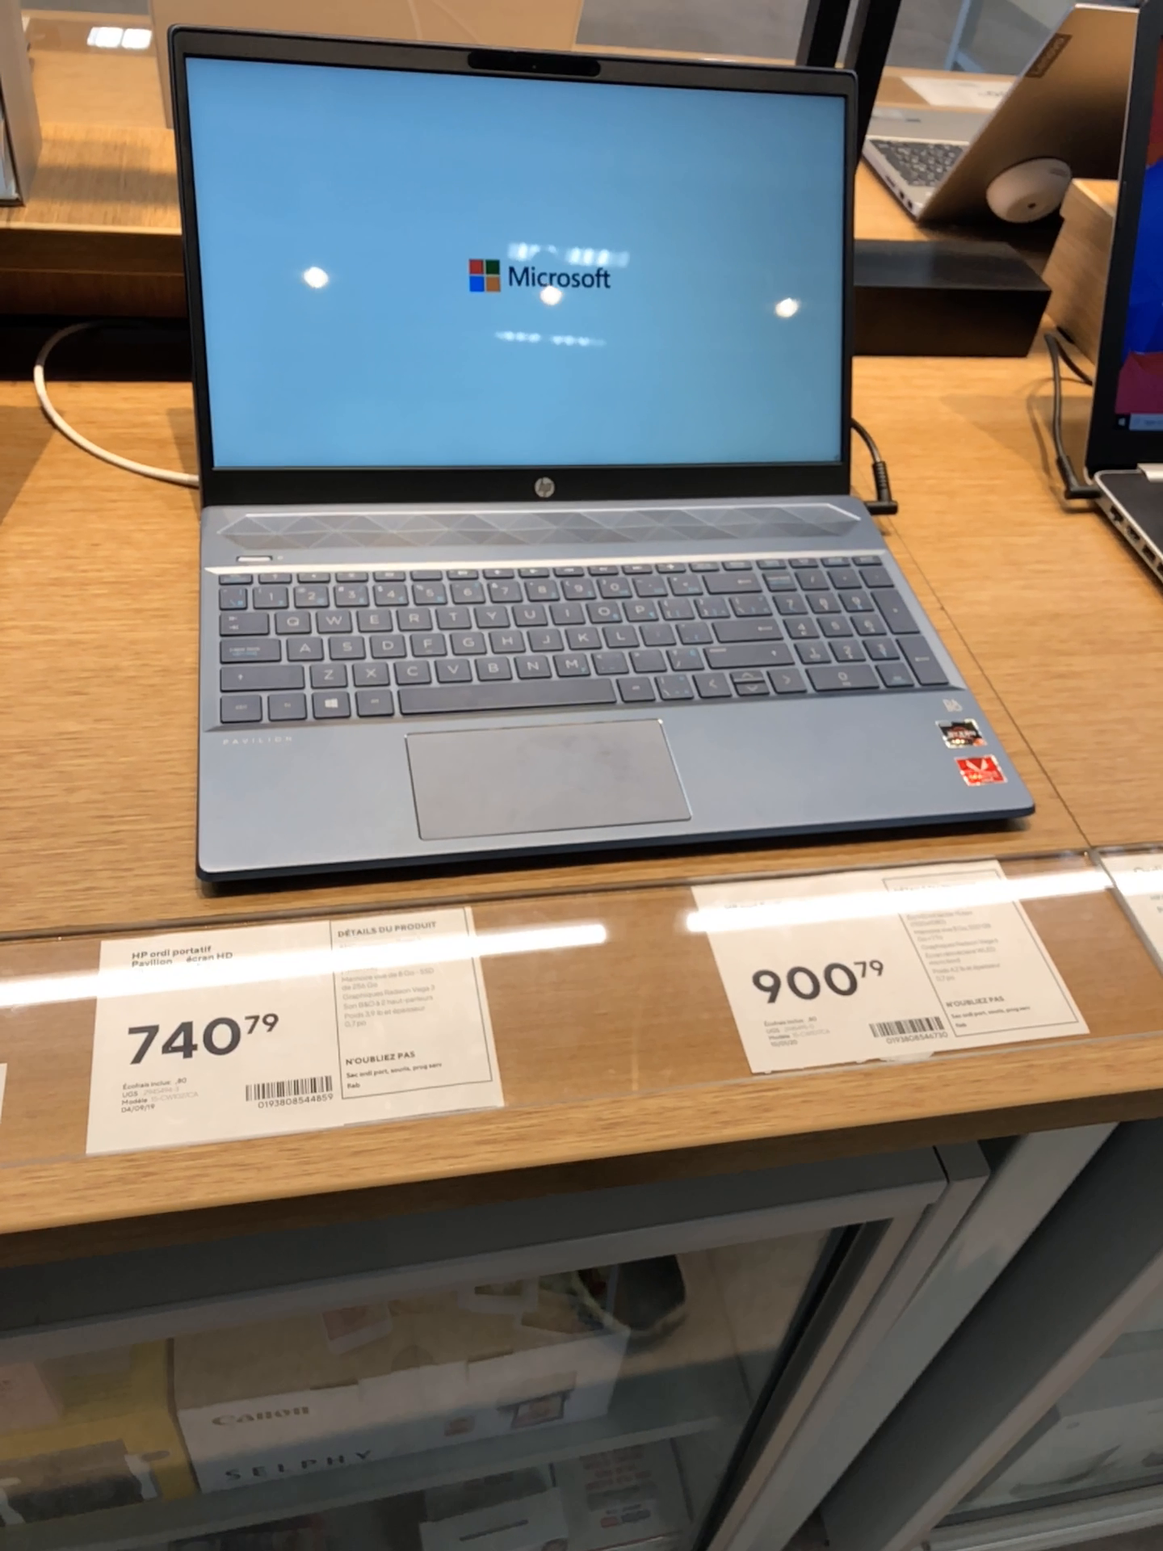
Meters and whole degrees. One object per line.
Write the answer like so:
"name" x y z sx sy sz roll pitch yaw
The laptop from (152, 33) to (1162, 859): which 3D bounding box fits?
"laptop" -0.004 -0.168 0.586 0.338 0.185 0.357 -3 45 -14
